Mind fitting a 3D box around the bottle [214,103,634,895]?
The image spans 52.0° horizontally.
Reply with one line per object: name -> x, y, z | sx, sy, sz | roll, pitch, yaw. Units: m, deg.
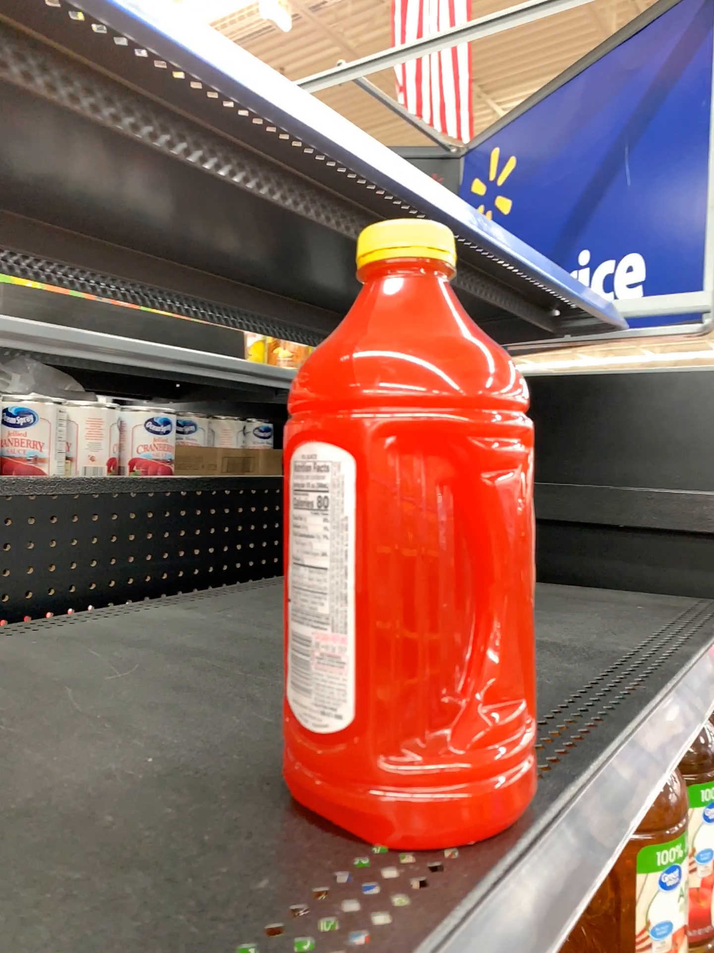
bottle -> 0.027, 0.006, 0.337 | 0.122, 0.265, 0.140 | 1, 1, -40
